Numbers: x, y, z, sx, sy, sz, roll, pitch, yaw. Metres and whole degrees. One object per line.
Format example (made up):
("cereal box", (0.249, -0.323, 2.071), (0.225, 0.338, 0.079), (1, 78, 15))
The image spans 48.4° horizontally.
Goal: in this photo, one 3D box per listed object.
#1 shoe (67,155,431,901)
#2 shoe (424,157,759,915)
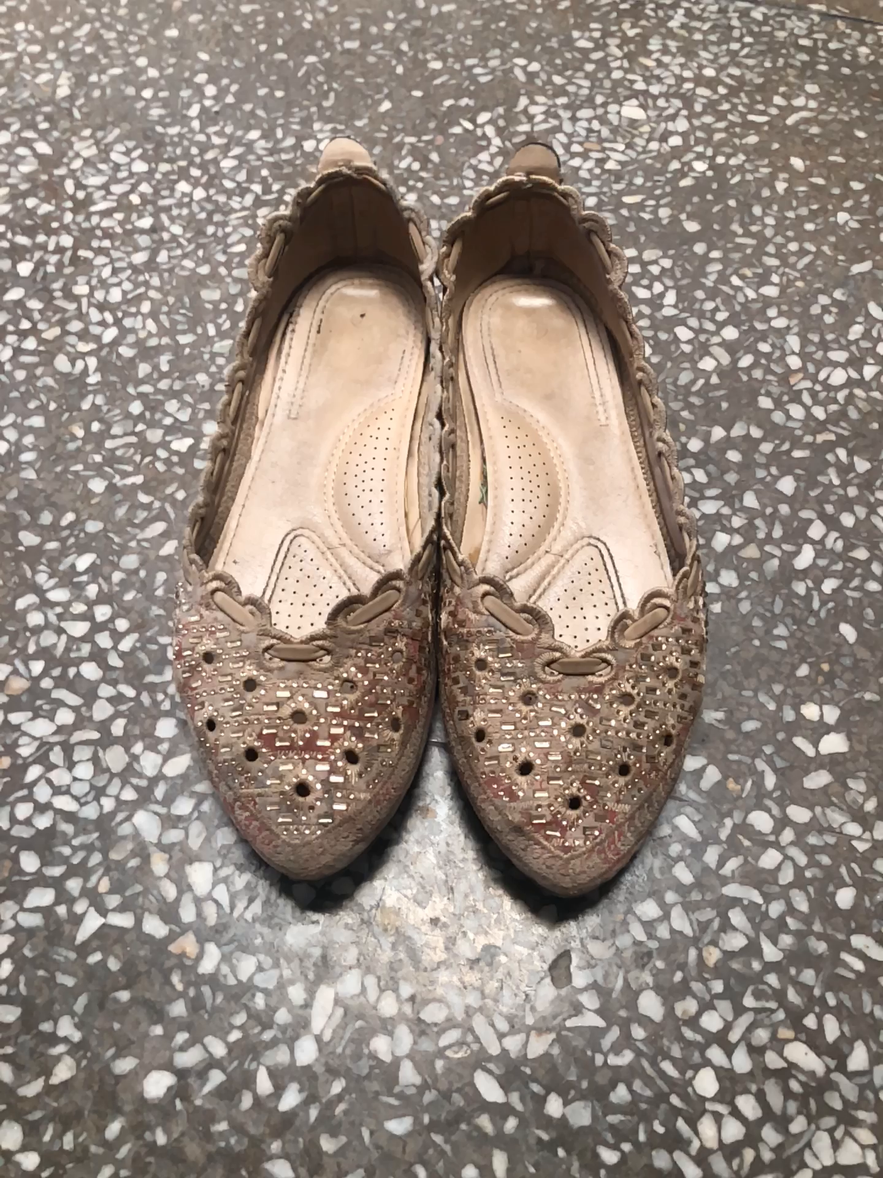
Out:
("shoe", (-0.052, -0.040, 0.345), (0.090, 0.040, 0.280), (1, 62, 0))
("shoe", (0.042, -0.033, 0.338), (0.090, 0.040, 0.270), (1, 66, 0))
